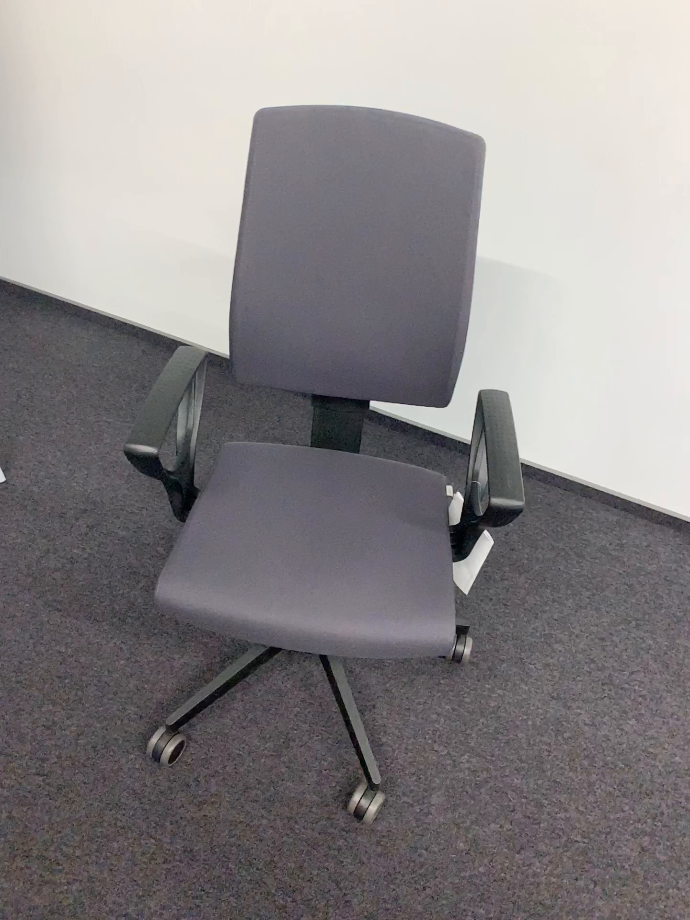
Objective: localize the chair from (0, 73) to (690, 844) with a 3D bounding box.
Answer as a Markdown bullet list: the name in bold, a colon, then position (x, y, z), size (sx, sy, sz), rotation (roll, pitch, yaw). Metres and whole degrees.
- **chair**: position (-0.023, 0.006, 1.274), size (0.700, 1.034, 0.784), rotation (9, 40, 2)
